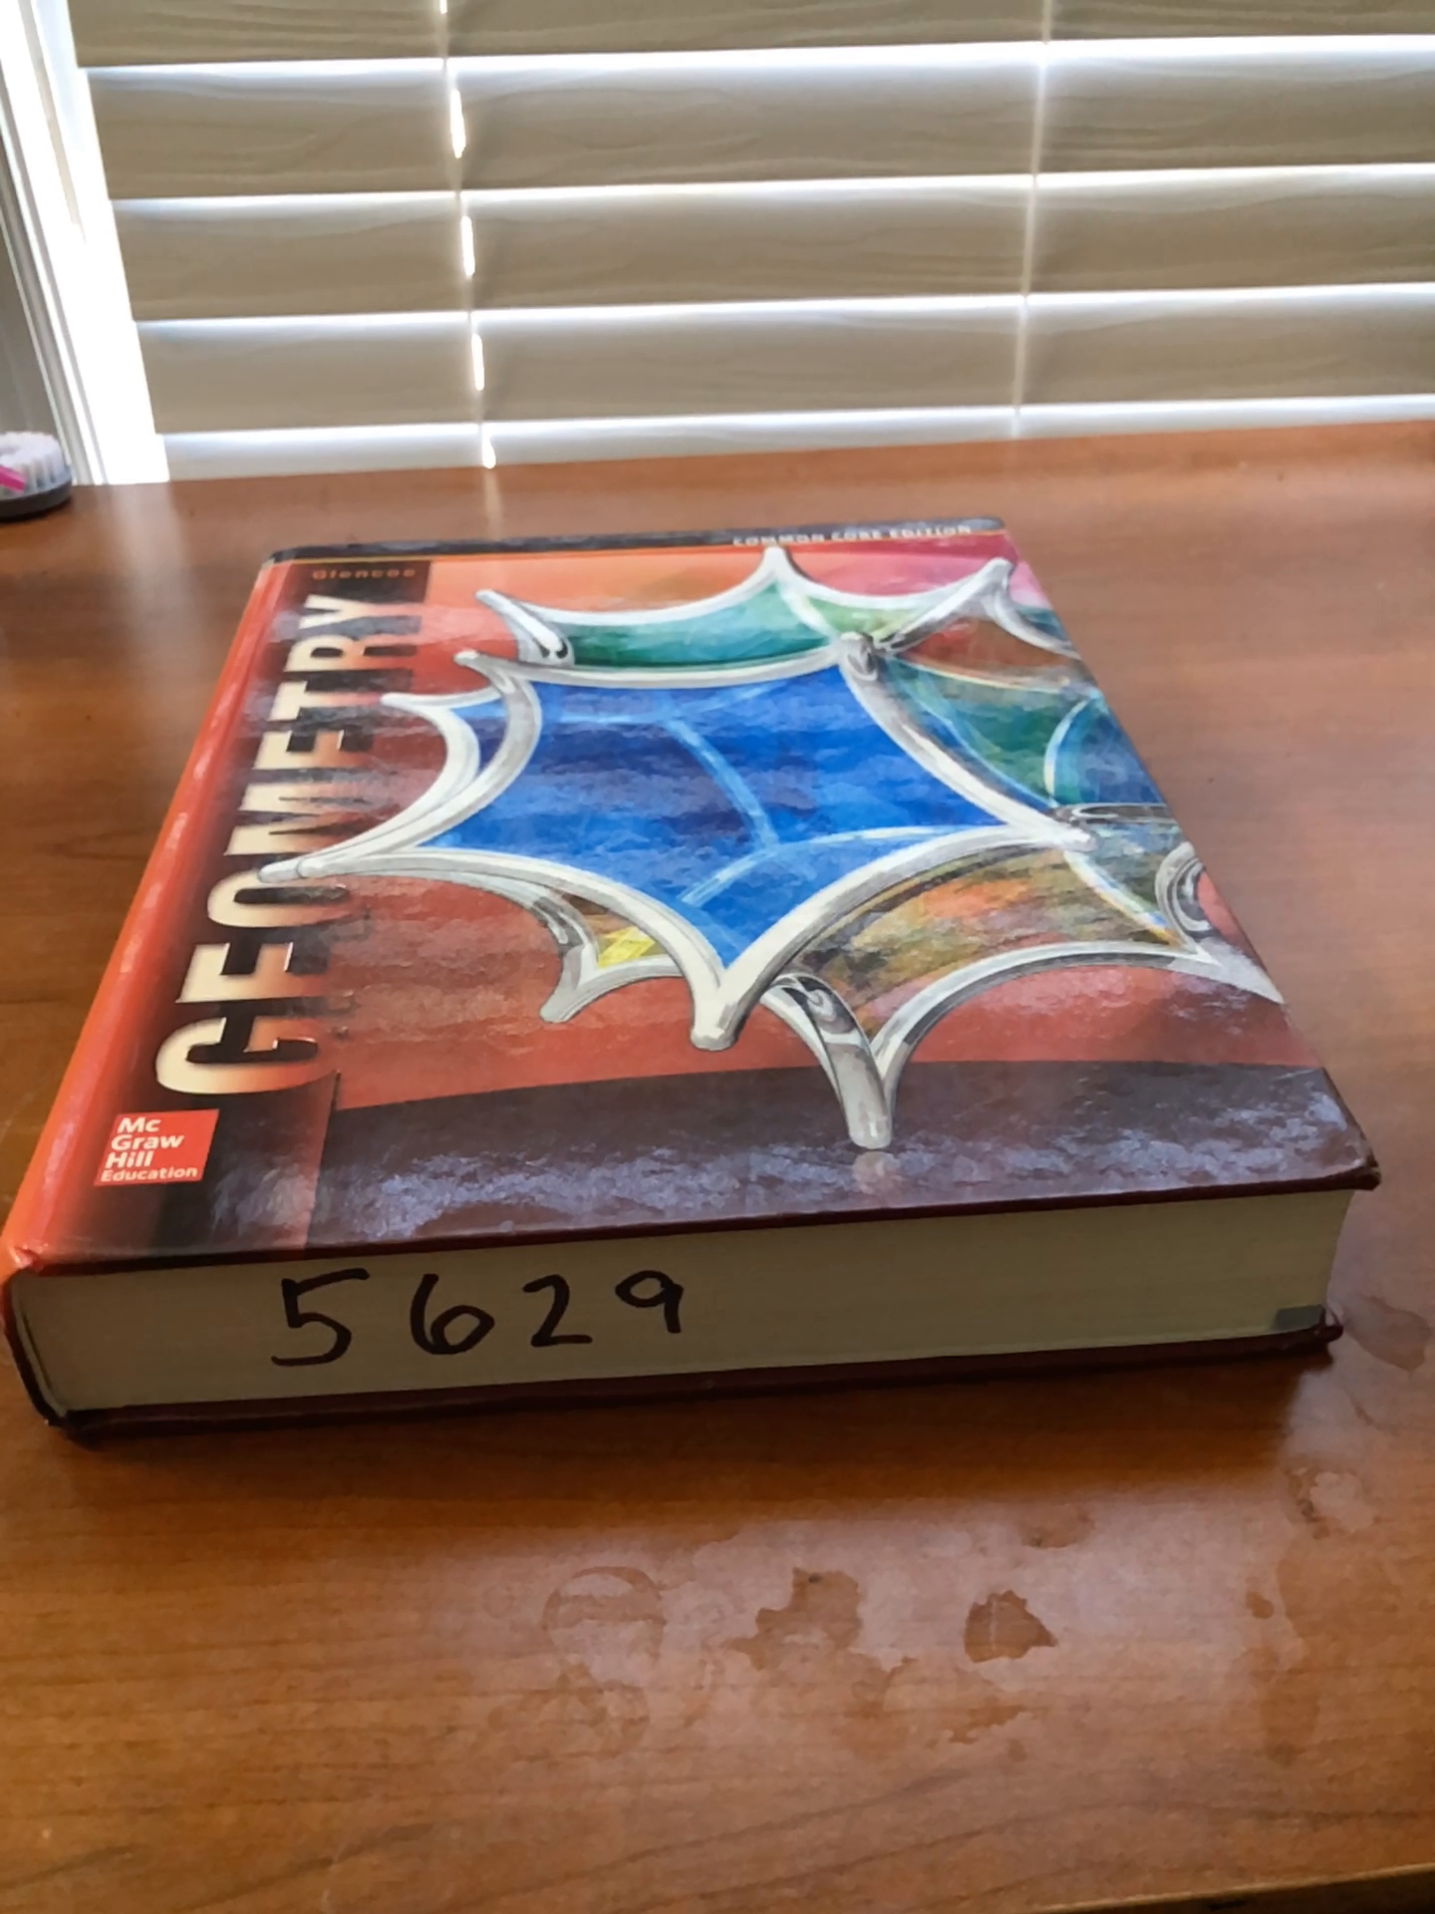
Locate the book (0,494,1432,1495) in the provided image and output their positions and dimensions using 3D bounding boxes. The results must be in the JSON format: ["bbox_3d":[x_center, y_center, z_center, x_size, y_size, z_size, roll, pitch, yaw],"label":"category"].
[{"bbox_3d":[-0.013,-0.028,0.382,0.229,0.050,0.312,-3,36,-3],"label":"book"}]
